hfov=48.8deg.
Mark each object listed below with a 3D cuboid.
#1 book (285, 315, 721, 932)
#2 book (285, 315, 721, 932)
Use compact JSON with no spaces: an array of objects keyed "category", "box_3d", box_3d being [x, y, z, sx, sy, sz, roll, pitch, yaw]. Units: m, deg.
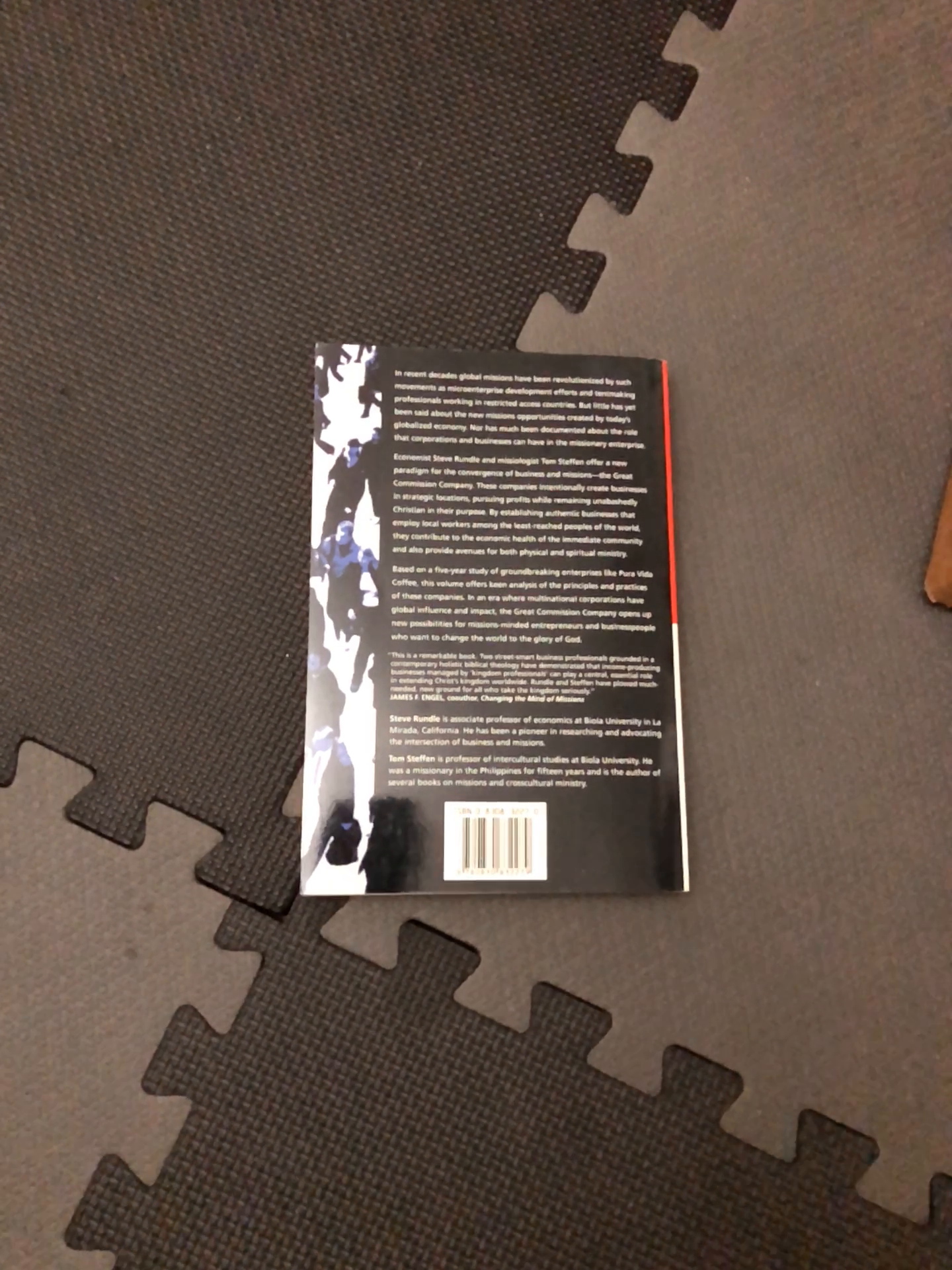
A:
[{"category":"book","box_3d":[0.008,-0.009,0.395,0.150,0.020,0.230,0,77,-4]},{"category":"book","box_3d":[0.008,-0.009,0.395,0.150,0.020,0.230,0,77,-4]}]
